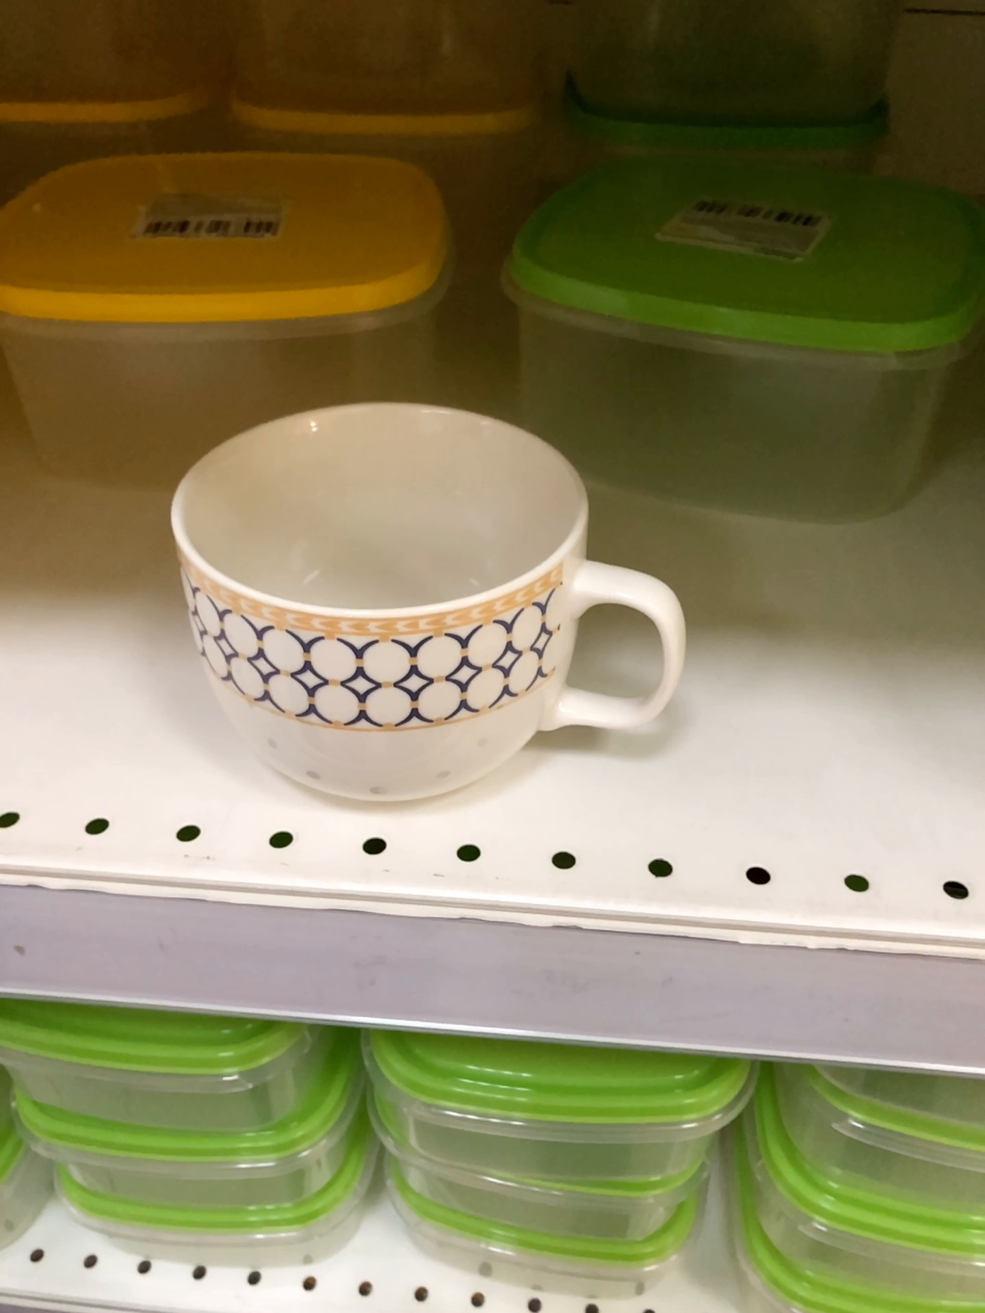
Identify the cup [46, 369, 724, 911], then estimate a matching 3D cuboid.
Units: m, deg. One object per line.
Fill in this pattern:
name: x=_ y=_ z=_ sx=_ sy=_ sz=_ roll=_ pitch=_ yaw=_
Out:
cup: x=-0.022 y=-0.014 z=0.293 sx=0.134 sy=0.062 sz=0.105 roll=17 pitch=43 yaw=19
